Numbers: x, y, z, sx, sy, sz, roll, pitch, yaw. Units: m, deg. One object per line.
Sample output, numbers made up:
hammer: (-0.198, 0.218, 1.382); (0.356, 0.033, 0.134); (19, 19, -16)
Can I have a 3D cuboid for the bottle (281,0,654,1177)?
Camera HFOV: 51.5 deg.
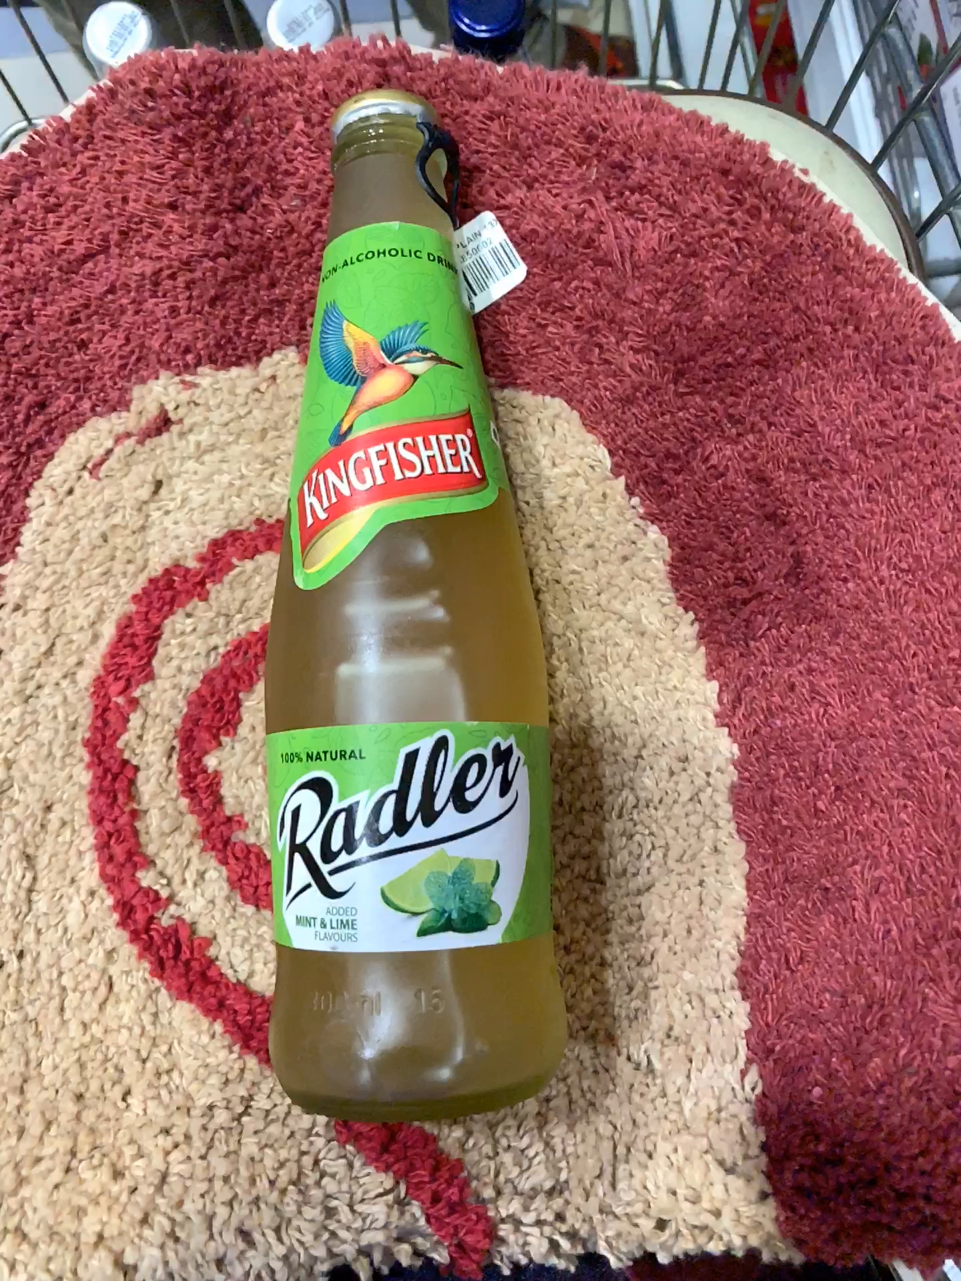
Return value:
bottle: (-0.005, -0.022, 0.220); (0.060, 0.060, 0.240); (-3, 80, 3)
